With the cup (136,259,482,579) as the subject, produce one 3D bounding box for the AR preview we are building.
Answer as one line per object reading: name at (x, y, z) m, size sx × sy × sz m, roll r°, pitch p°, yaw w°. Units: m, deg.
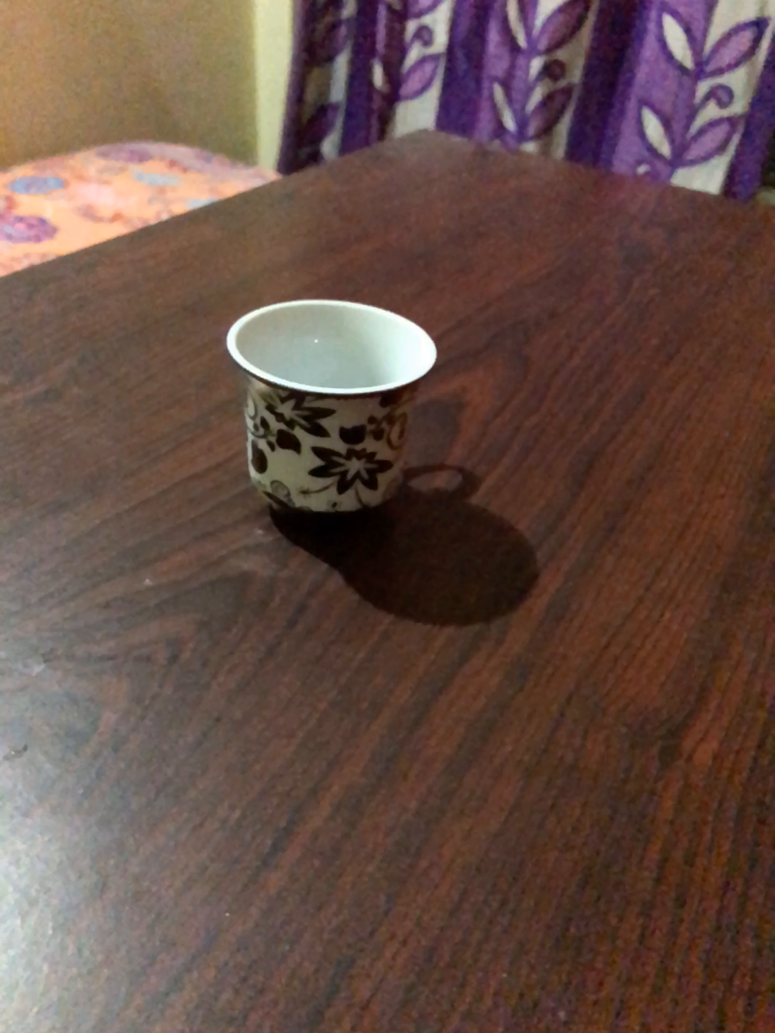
cup at (-0.020, -0.036, 0.274) m, size 0.070 × 0.050 × 0.091 m, roll 17°, pitch 38°, yaw 15°
